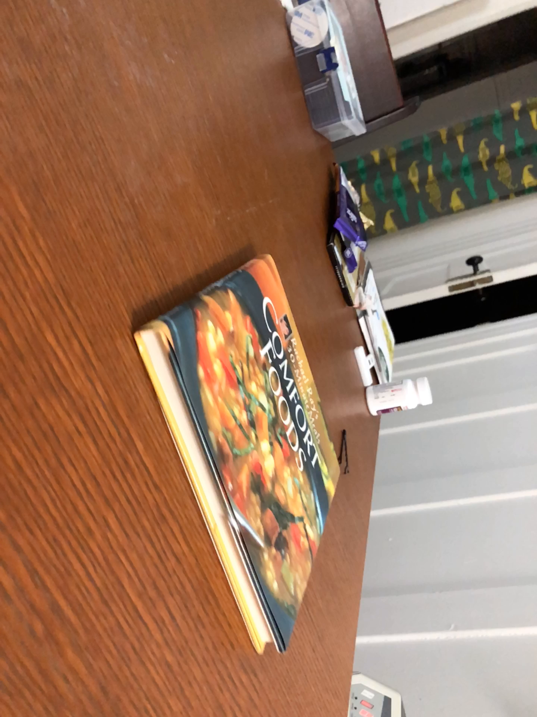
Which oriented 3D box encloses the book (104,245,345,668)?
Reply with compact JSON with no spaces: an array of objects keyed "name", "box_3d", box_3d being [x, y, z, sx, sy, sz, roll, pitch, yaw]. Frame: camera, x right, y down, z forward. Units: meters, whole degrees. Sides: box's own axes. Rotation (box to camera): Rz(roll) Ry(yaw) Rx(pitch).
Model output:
[{"name":"book","box_3d":[-0.006,0.042,0.396,0.211,0.030,0.200,-52,126,-65]}]
